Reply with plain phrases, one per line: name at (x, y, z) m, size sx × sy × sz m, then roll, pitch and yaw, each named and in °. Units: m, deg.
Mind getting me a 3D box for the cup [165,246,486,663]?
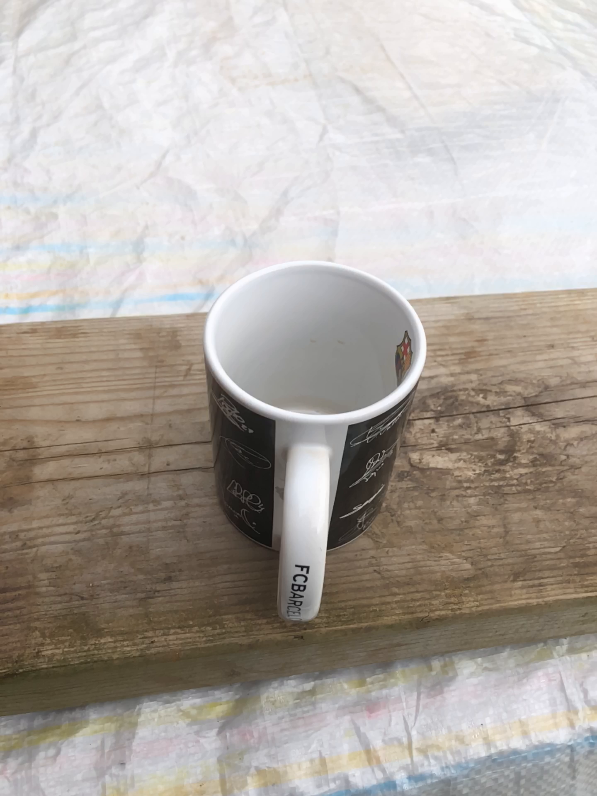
cup at (0.005, 0.021, 0.261) m, size 0.090 × 0.089 × 0.131 m, roll 4°, pitch 50°, yaw -4°
